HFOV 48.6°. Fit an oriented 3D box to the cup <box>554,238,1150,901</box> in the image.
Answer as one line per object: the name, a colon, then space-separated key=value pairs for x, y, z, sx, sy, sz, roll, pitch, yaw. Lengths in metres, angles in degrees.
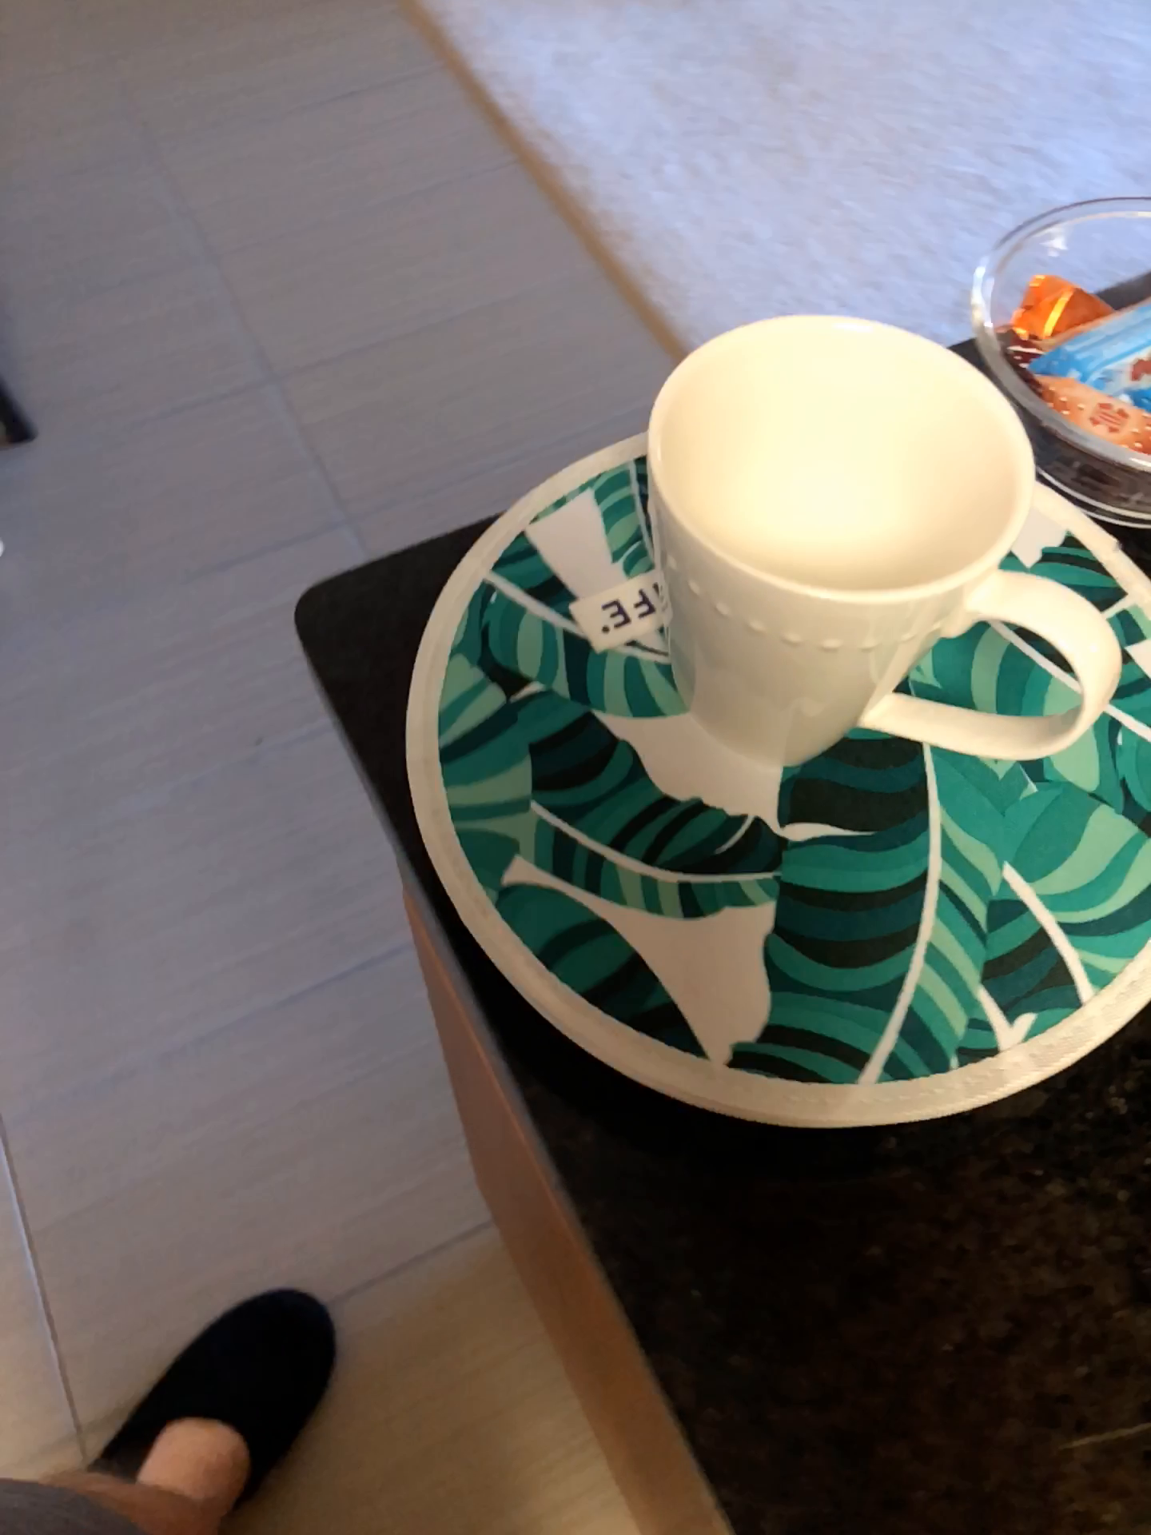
cup: x=0.074 y=-0.052 z=0.332 sx=0.130 sy=0.090 sz=0.090 roll=30 pitch=63 yaw=18
